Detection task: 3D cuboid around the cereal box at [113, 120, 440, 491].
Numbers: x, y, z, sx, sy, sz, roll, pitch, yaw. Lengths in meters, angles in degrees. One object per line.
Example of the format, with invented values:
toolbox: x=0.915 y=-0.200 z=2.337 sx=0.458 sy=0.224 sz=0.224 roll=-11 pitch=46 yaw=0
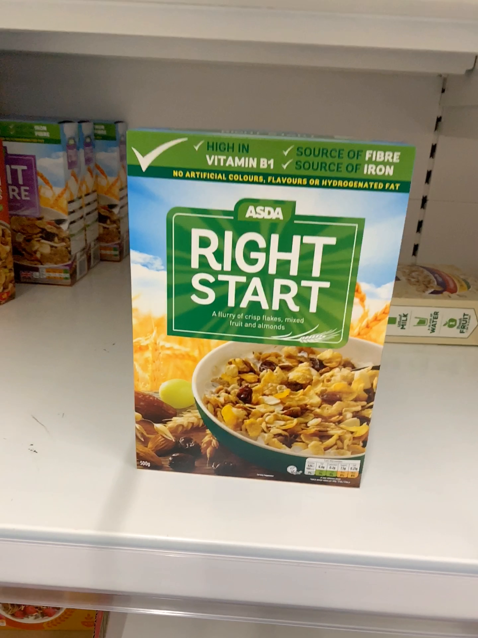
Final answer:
cereal box: x=0.017 y=-0.005 z=0.384 sx=0.200 sy=0.268 sz=0.071 roll=4 pitch=22 yaw=2
